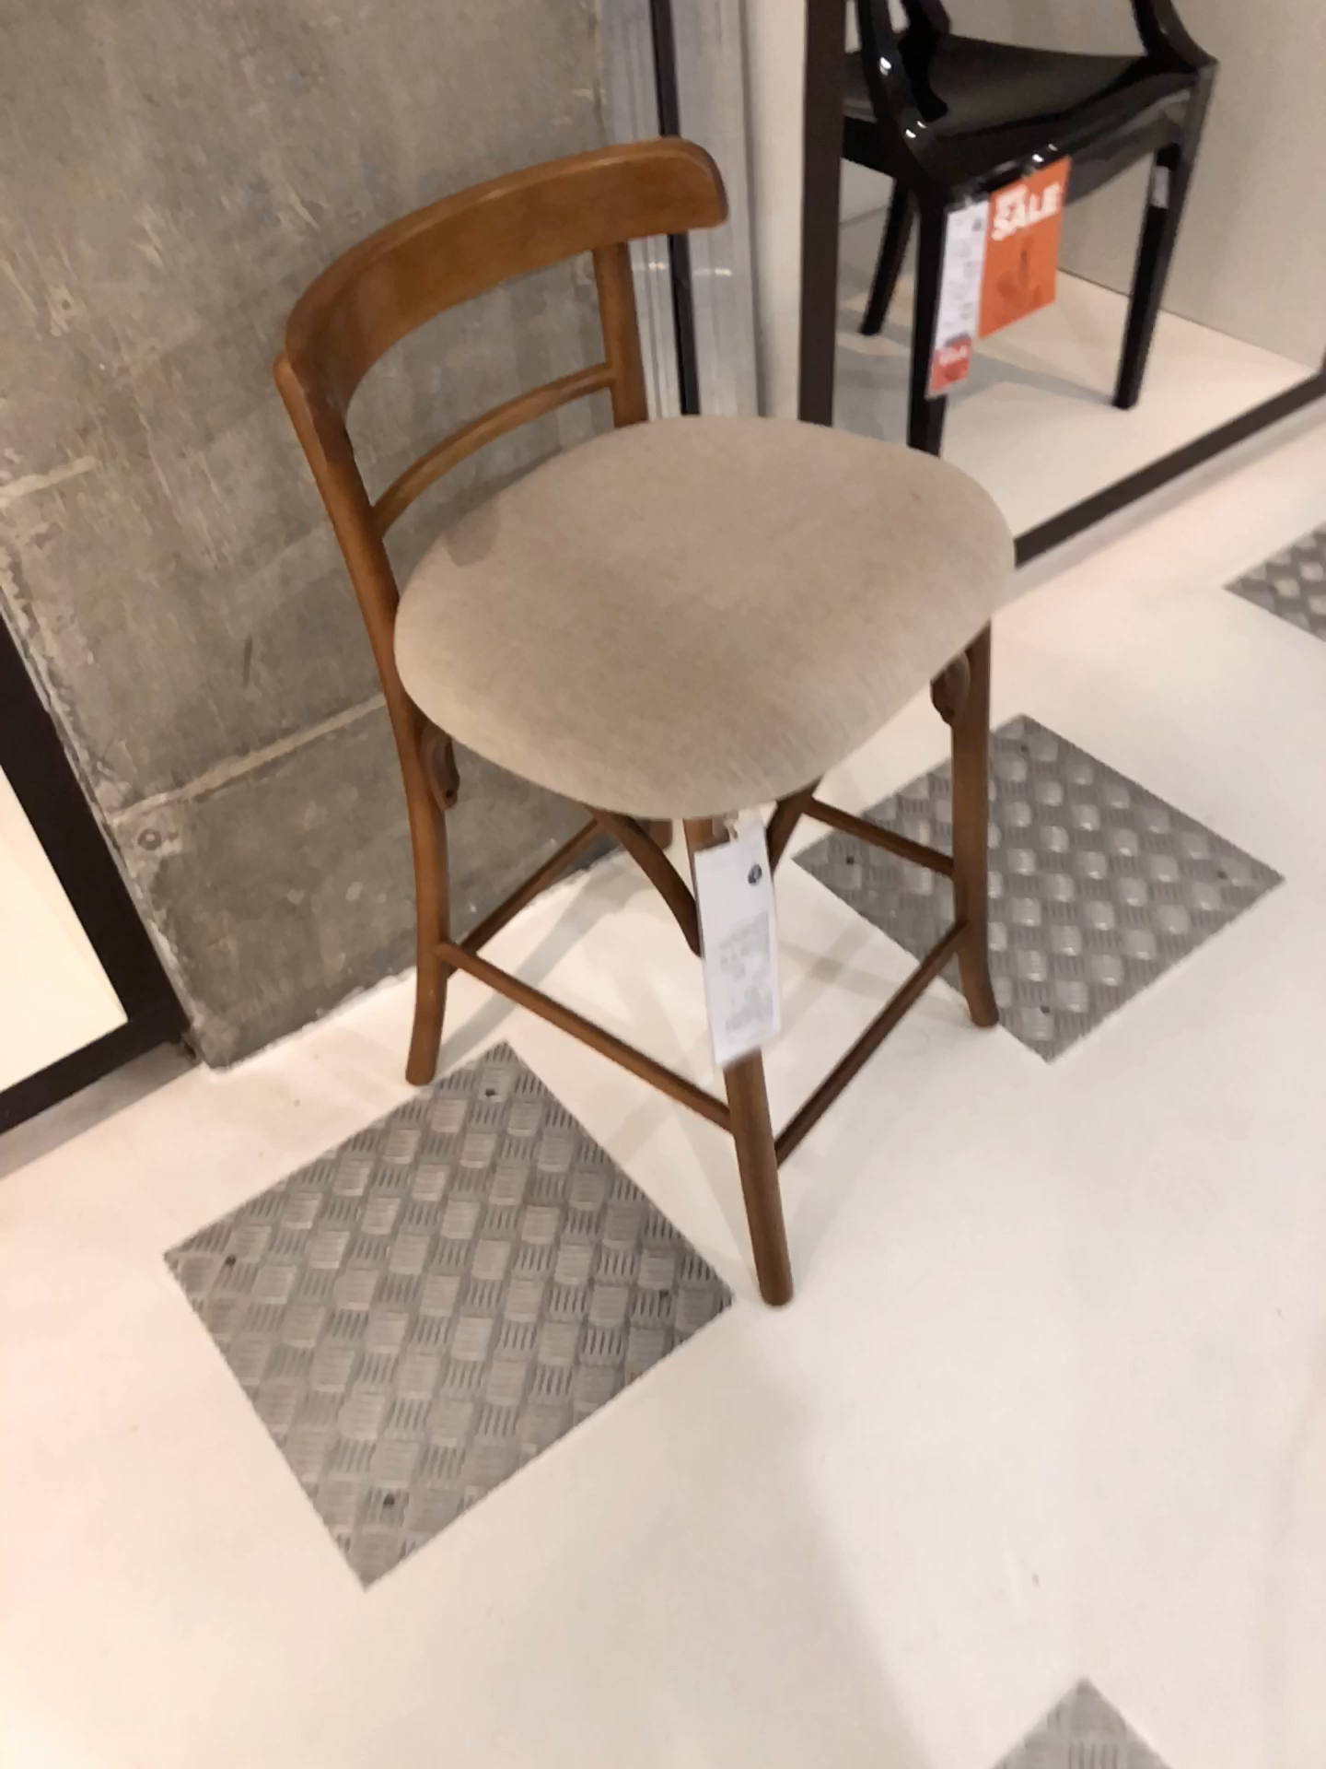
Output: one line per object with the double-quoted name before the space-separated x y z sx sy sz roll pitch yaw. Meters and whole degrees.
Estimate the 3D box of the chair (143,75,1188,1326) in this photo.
"chair" 0.031 -0.134 1.224 0.481 0.794 0.483 26 53 26
